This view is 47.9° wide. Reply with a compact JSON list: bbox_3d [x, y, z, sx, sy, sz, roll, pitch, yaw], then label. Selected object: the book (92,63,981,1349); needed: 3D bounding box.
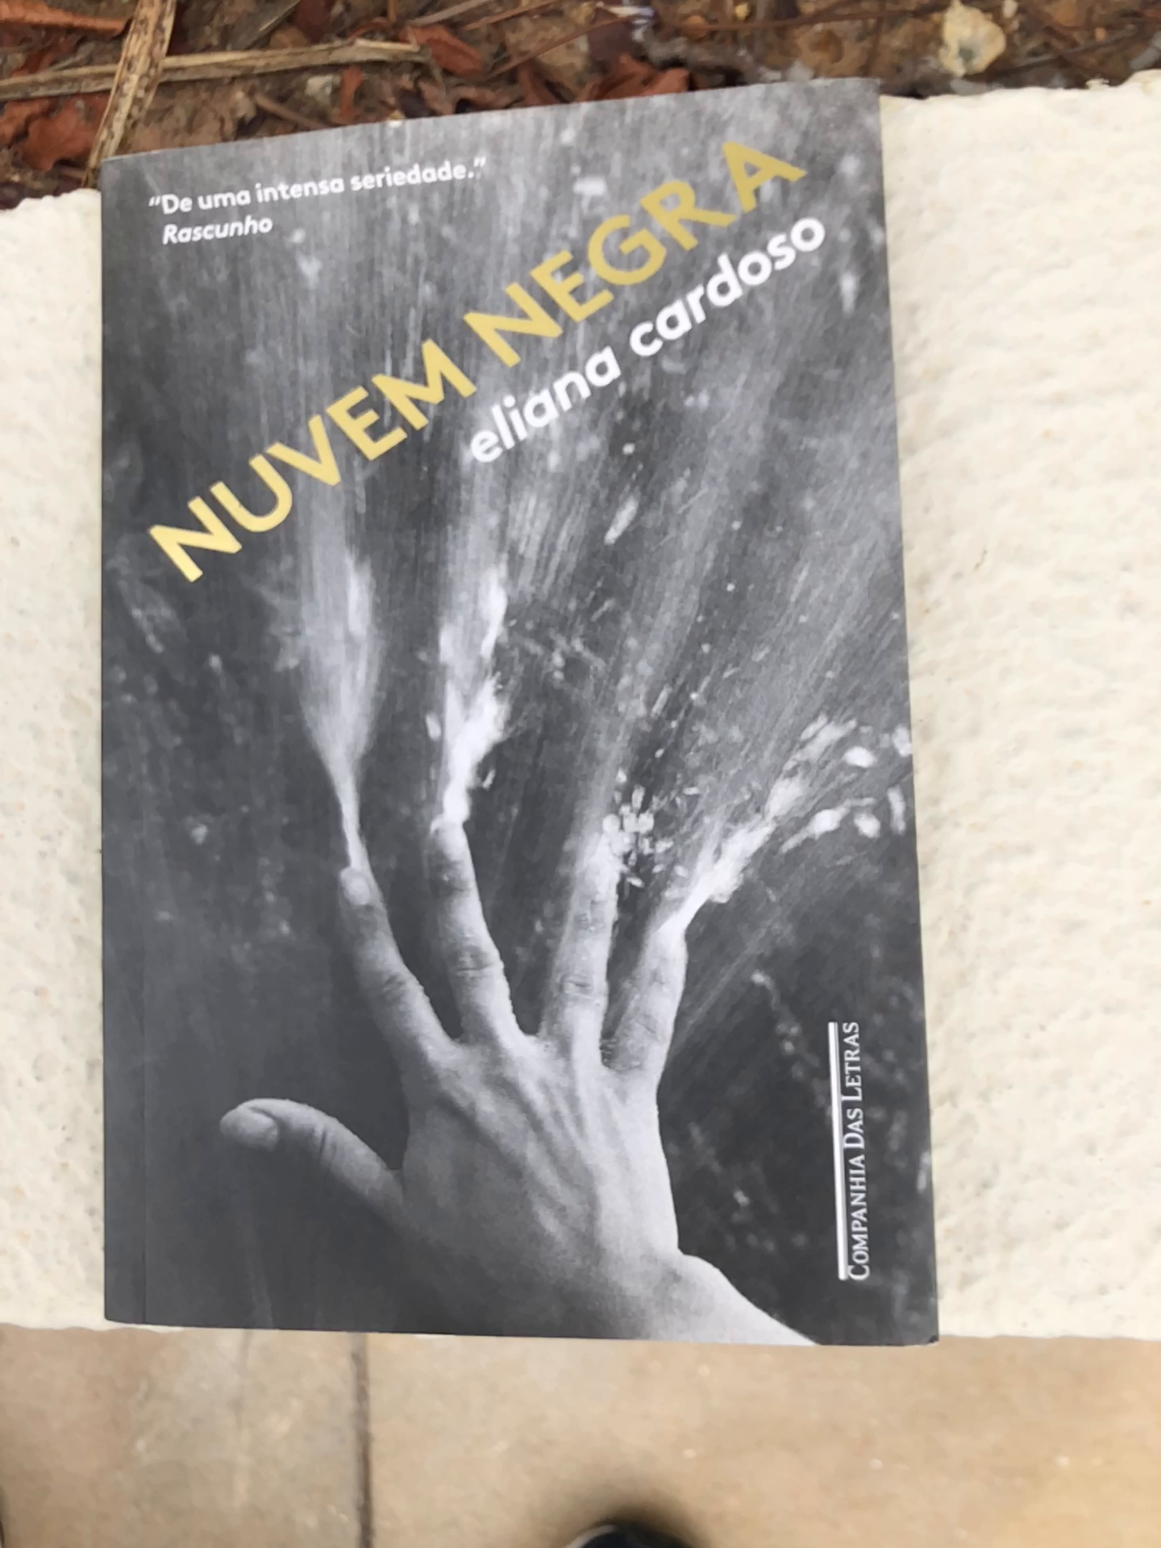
[{"bbox_3d":[-0.011,-0.011,0.216,0.140,0.013,0.200,-2,87,6],"label":"book"}]
